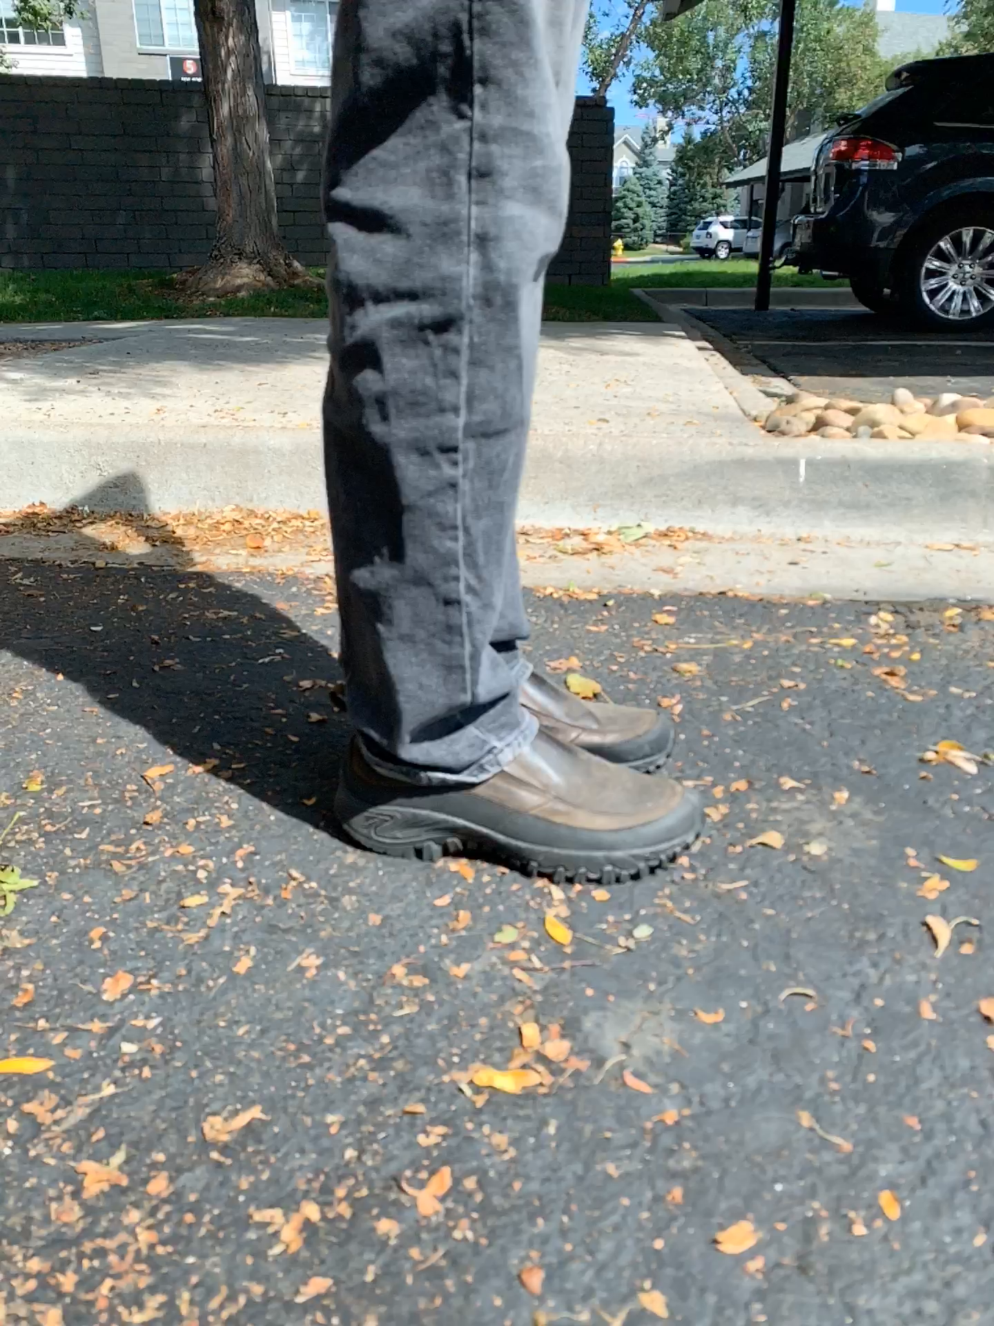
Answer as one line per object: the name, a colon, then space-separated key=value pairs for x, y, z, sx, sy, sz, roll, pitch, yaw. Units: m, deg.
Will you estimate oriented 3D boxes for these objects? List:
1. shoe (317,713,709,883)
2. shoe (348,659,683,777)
shoe: x=0.014 y=0.104 z=0.807 sx=0.290 sy=0.070 sz=0.110 roll=4 pitch=20 yaw=5
shoe: x=0.017 y=0.049 z=0.937 sx=0.290 sy=0.070 sz=0.110 roll=0 pitch=20 yaw=2
